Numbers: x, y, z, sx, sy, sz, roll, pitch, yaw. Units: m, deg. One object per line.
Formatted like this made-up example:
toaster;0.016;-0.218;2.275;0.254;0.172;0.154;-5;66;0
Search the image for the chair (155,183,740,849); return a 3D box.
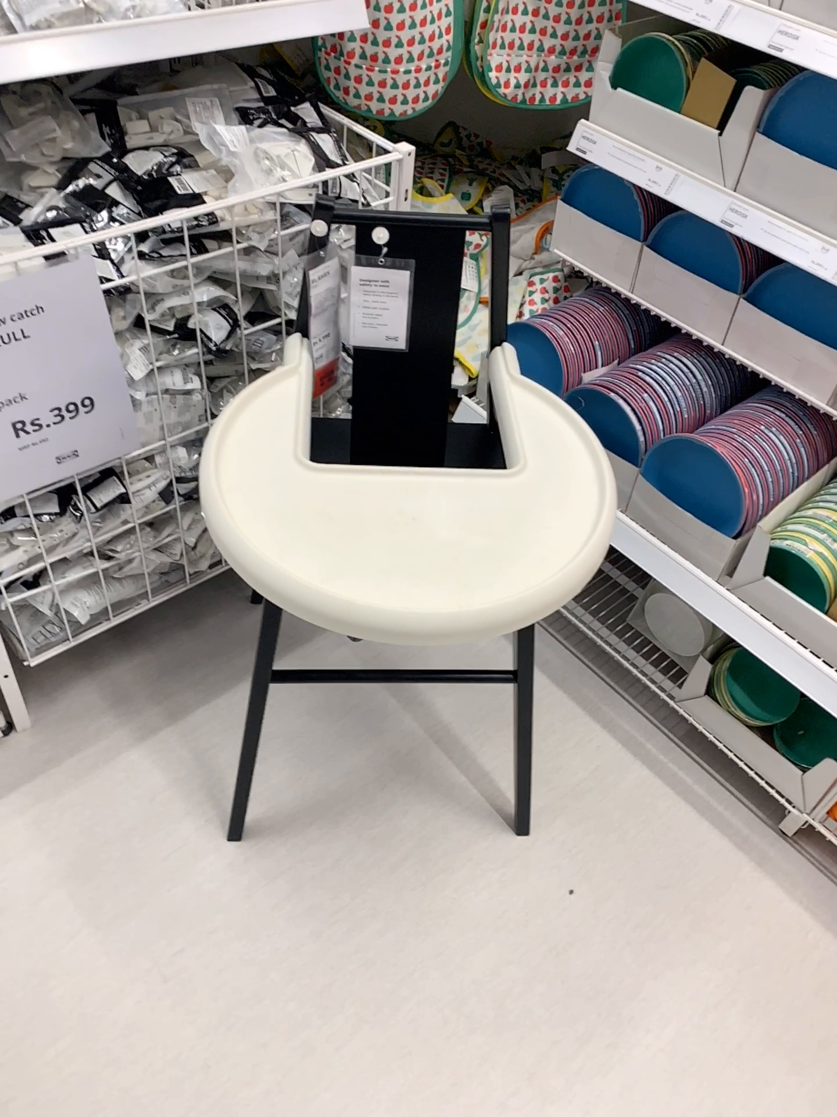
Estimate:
chair;-0.016;-0.017;1.233;0.530;0.777;0.552;1;47;-6
